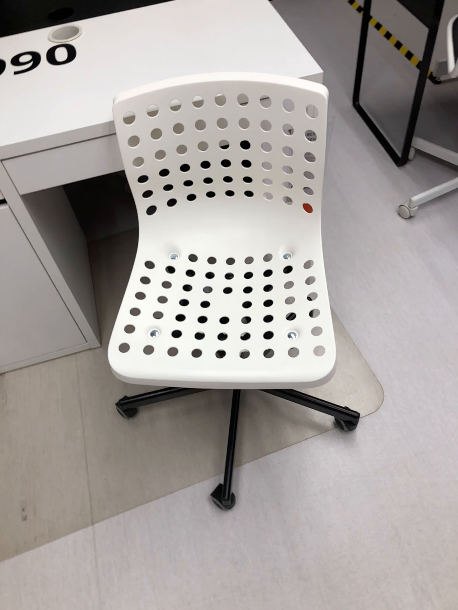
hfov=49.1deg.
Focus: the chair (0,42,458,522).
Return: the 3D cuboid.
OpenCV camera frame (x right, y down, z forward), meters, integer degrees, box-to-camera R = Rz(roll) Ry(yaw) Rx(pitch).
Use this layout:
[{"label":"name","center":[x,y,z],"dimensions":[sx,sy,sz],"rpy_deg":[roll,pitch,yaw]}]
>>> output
[{"label":"chair","center":[-0.013,-0.010,1.068],"dimensions":[0.670,0.746,0.653],"rpy_deg":[1,52,7]}]
